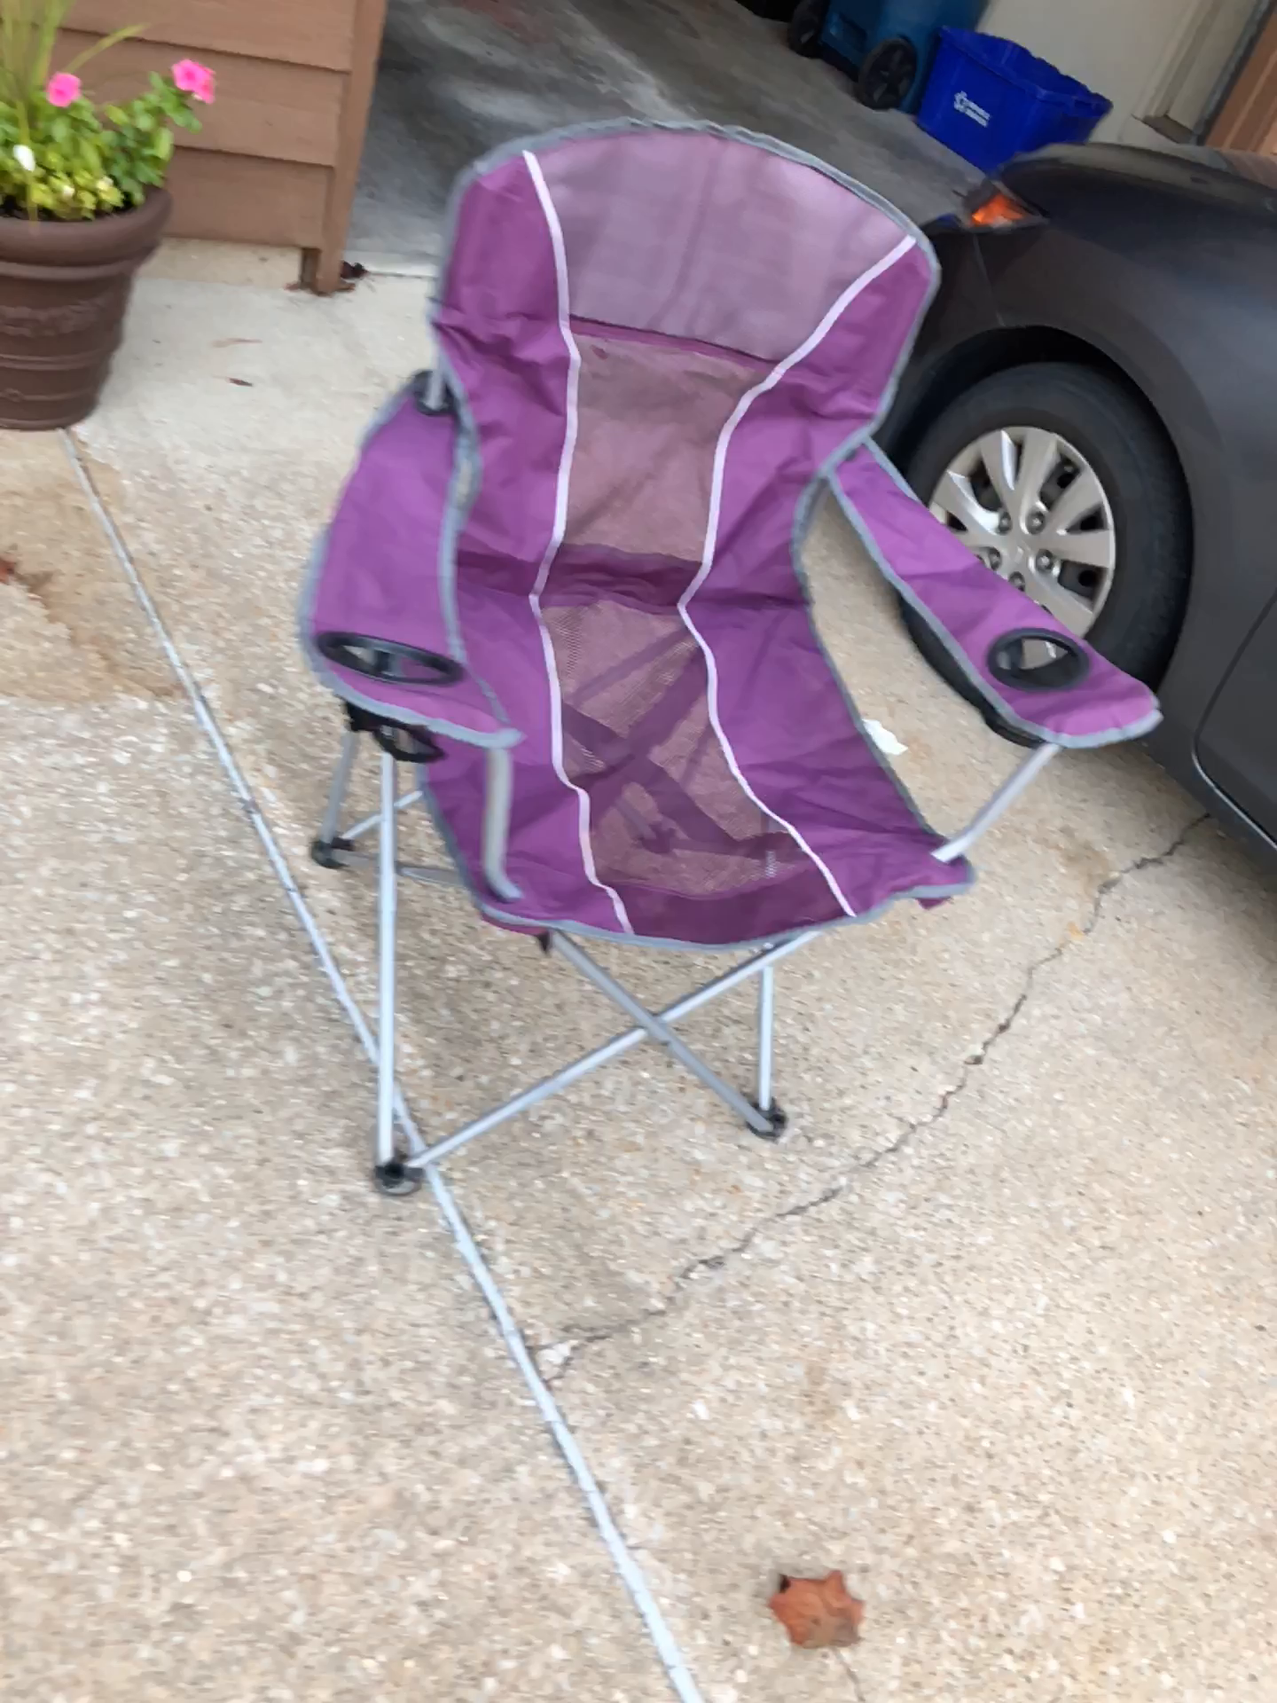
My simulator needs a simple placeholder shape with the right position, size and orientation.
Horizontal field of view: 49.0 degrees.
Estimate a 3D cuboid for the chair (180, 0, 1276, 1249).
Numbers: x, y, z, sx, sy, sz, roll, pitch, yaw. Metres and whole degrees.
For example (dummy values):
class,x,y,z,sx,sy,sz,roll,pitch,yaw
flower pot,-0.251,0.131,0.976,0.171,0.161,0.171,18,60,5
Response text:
class,x,y,z,sx,sy,sz,roll,pitch,yaw
chair,0.008,-0.200,1.443,0.762,0.878,0.710,-2,46,-27
